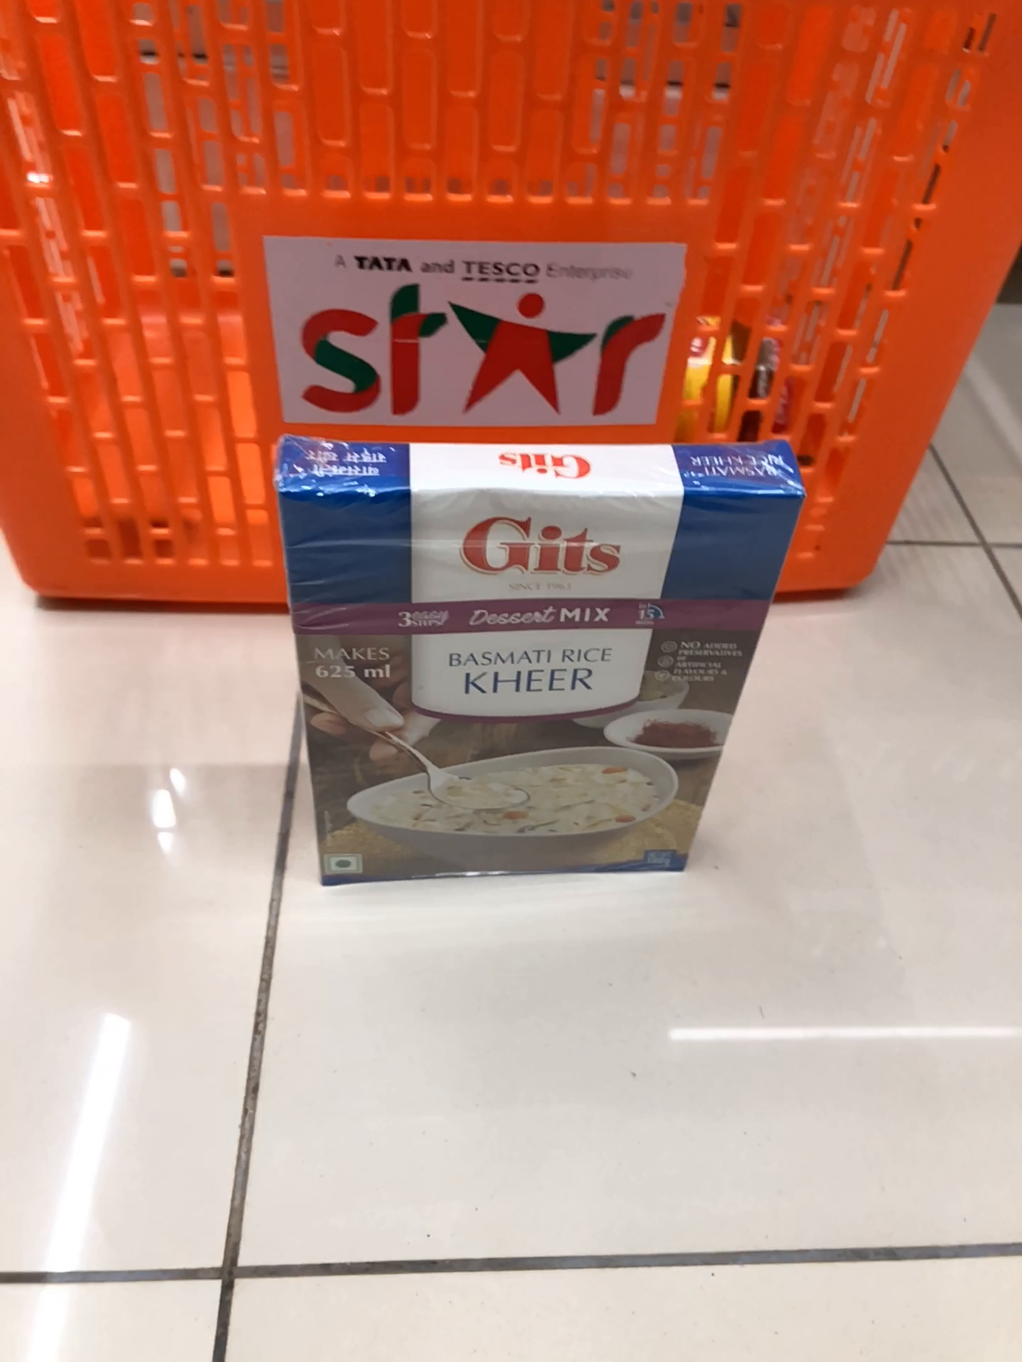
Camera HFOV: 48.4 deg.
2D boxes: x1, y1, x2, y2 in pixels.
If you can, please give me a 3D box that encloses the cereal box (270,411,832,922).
[{"bbox_3d":[0.005,0.005,0.307,0.120,0.159,0.030,-1,44,-5],"label":"cereal box"}]
